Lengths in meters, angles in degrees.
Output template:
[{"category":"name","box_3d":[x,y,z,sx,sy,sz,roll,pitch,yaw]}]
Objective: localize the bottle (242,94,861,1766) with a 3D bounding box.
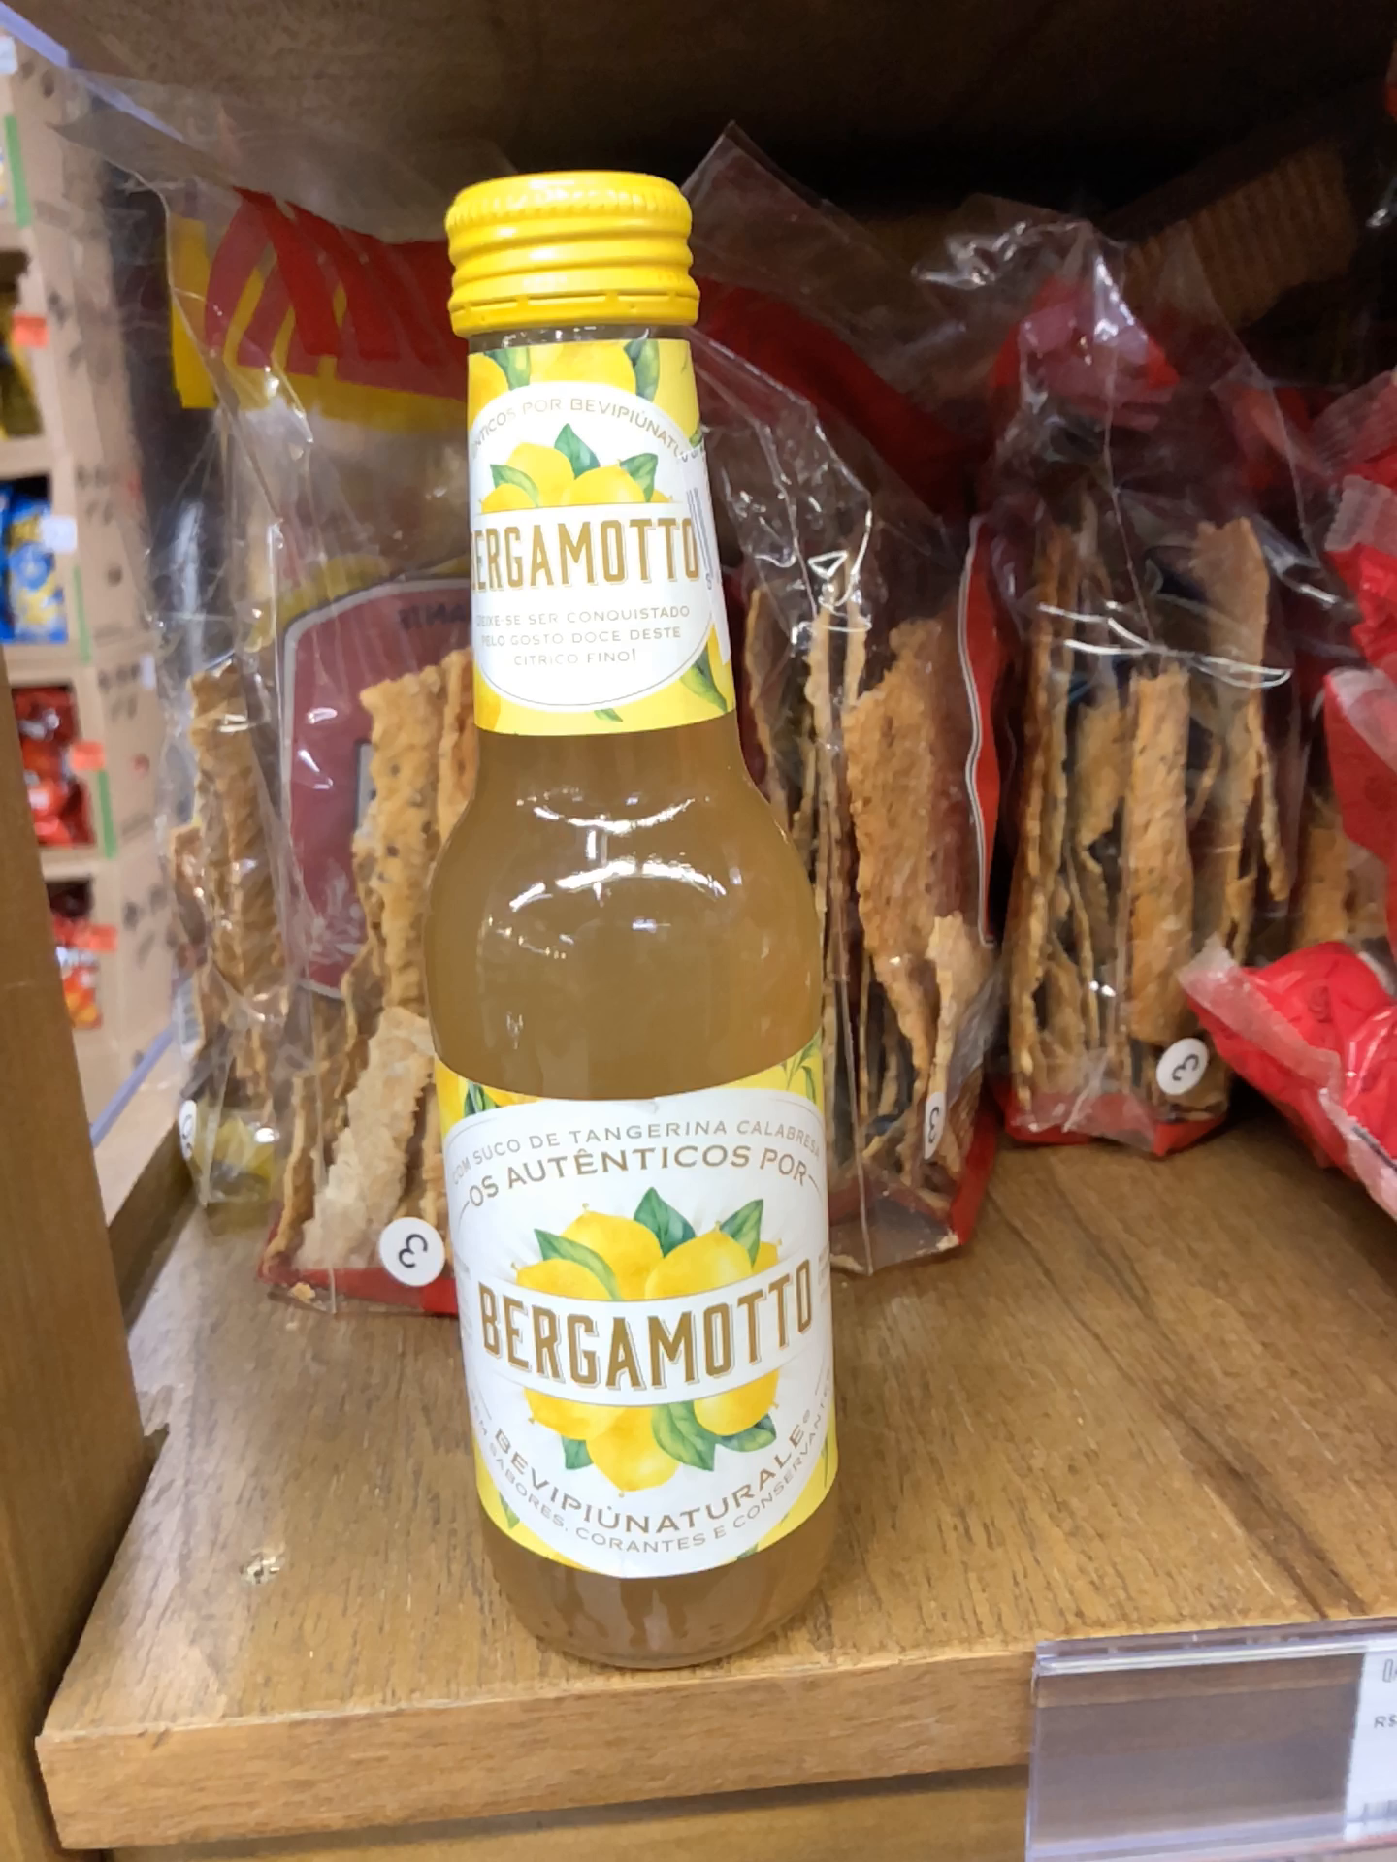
[{"category":"bottle","box_3d":[-0.014,0.004,0.211,0.060,0.199,0.060,-2,16,1]}]
